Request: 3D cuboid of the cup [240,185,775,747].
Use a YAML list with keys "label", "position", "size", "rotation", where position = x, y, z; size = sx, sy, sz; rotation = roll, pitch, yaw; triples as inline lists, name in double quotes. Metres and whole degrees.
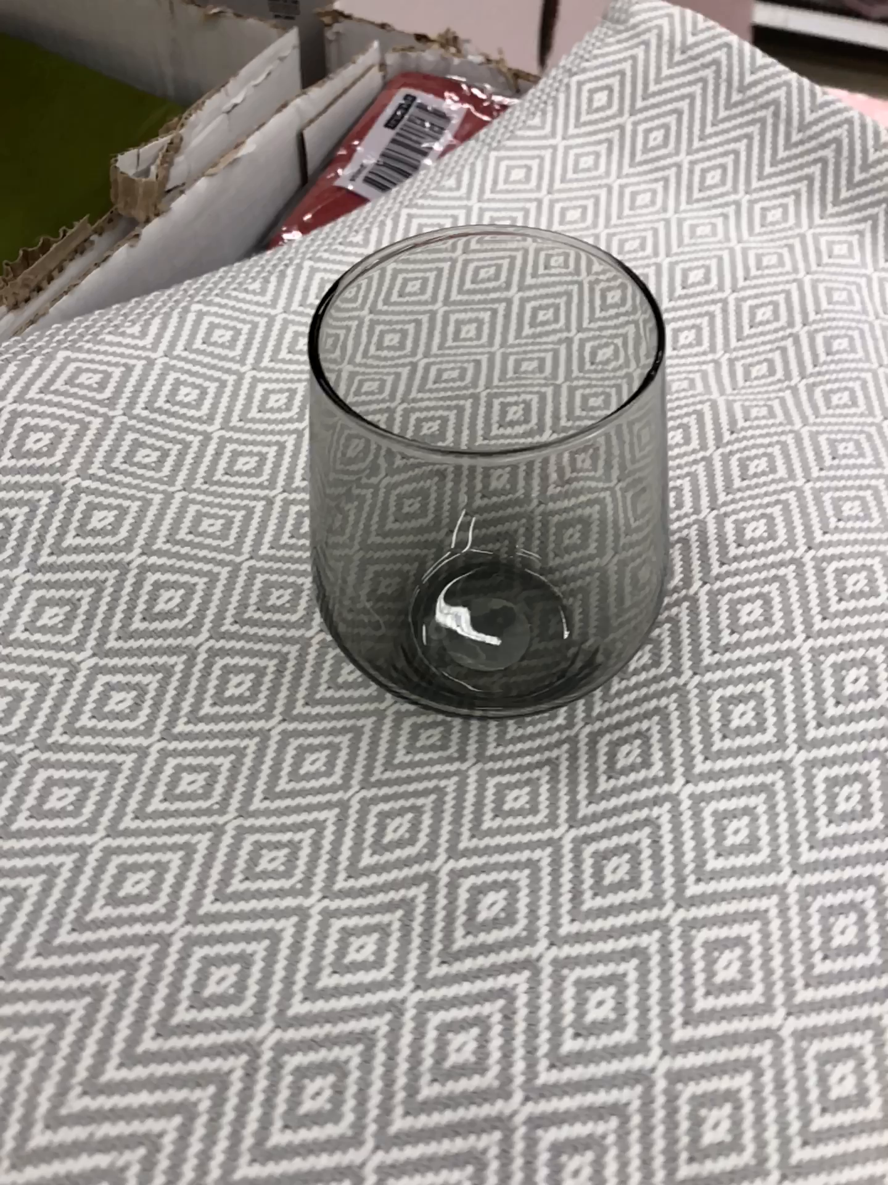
- label: "cup"
  position: [0.008, -0.024, 0.204]
  size: [0.080, 0.080, 0.080]
  rotation: [0, 52, -1]
